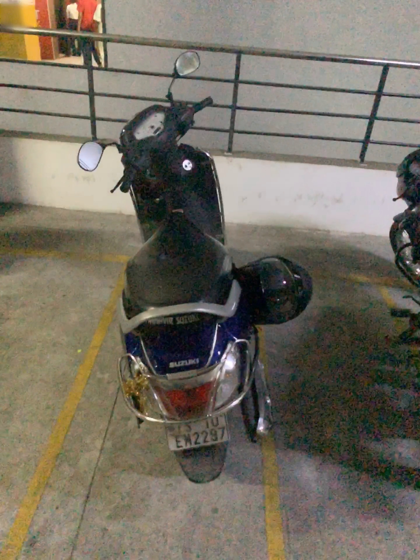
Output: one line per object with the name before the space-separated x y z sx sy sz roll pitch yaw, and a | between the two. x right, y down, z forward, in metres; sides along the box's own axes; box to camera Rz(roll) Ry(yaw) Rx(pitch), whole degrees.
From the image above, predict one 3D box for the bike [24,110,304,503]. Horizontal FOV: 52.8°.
bike | -0.264 -0.045 1.891 0.622 1.156 1.482 -2 30 -11
